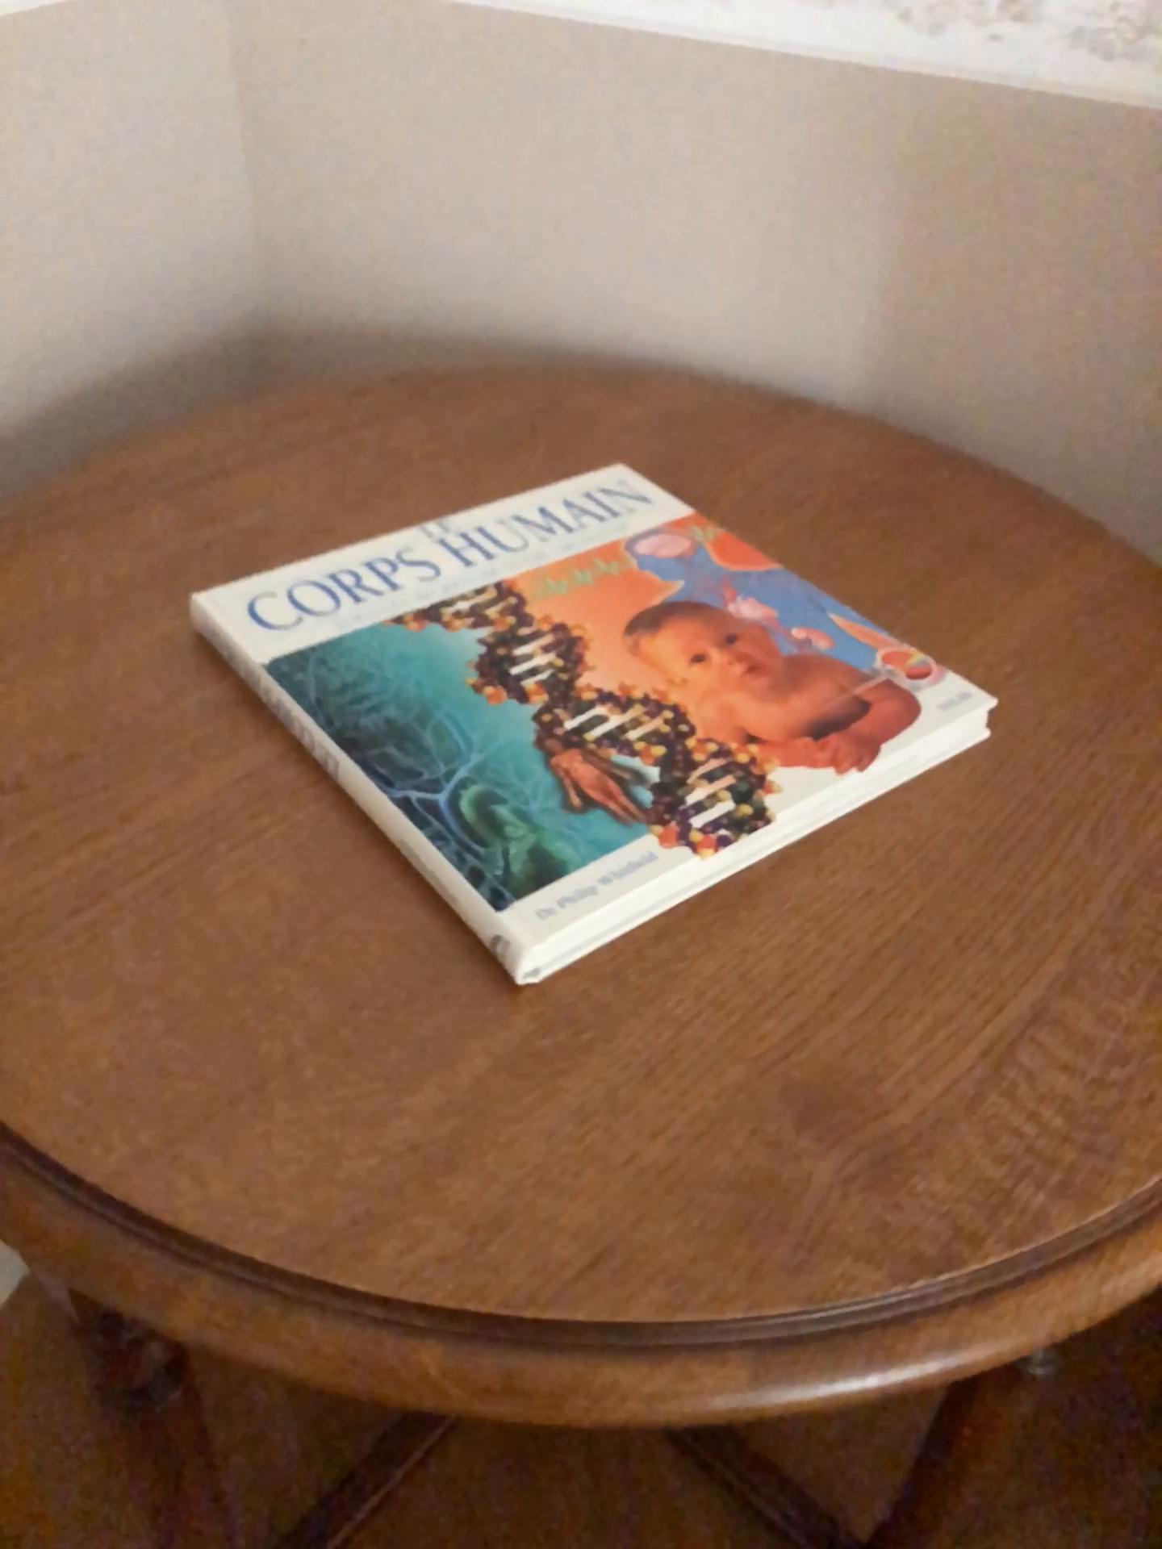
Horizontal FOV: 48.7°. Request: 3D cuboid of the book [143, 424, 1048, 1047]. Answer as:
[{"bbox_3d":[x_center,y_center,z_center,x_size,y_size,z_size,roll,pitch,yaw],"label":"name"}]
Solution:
[{"bbox_3d":[0.000,-0.051,0.568,0.271,0.040,0.290,-25,48,-30],"label":"book"}]
